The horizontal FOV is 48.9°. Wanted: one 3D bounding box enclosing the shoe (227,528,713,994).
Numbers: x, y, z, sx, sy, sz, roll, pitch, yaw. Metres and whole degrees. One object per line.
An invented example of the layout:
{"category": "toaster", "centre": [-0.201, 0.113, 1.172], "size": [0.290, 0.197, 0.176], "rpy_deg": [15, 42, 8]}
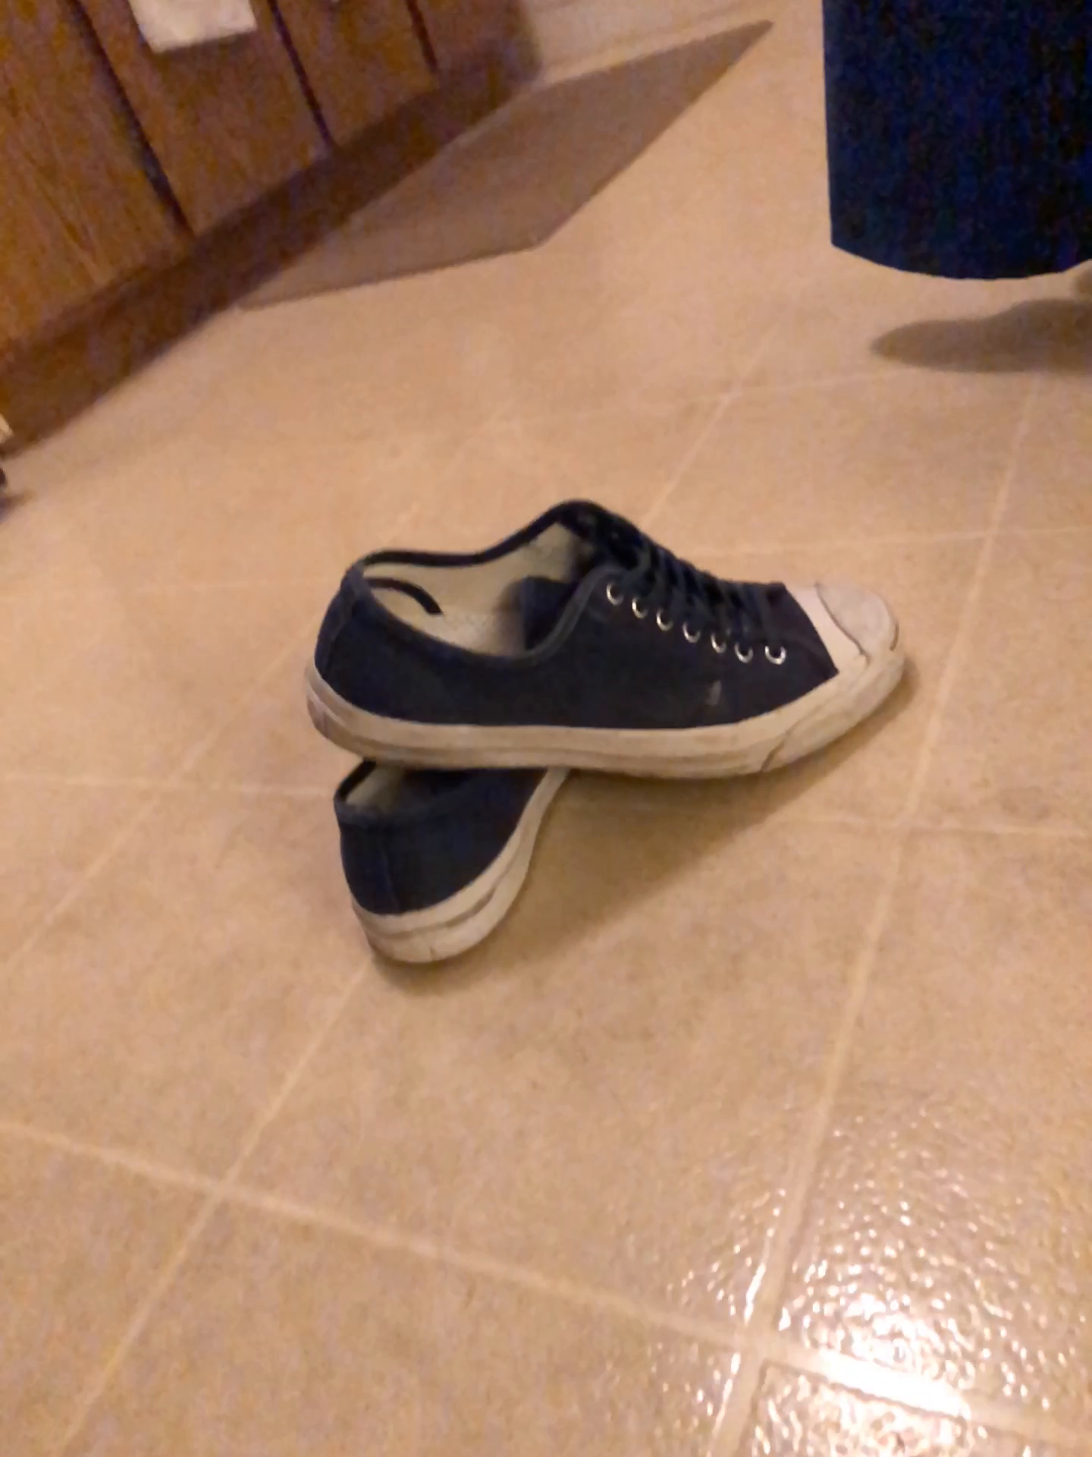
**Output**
{"category": "shoe", "centre": [-0.019, -0.004, 0.618], "size": [0.110, 0.080, 0.291], "rpy_deg": [4, 35, 28]}

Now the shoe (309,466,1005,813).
{"category": "shoe", "centre": [0.044, -0.046, 0.557], "size": [0.290, 0.099, 0.101], "rpy_deg": [-5, 49, -16]}
